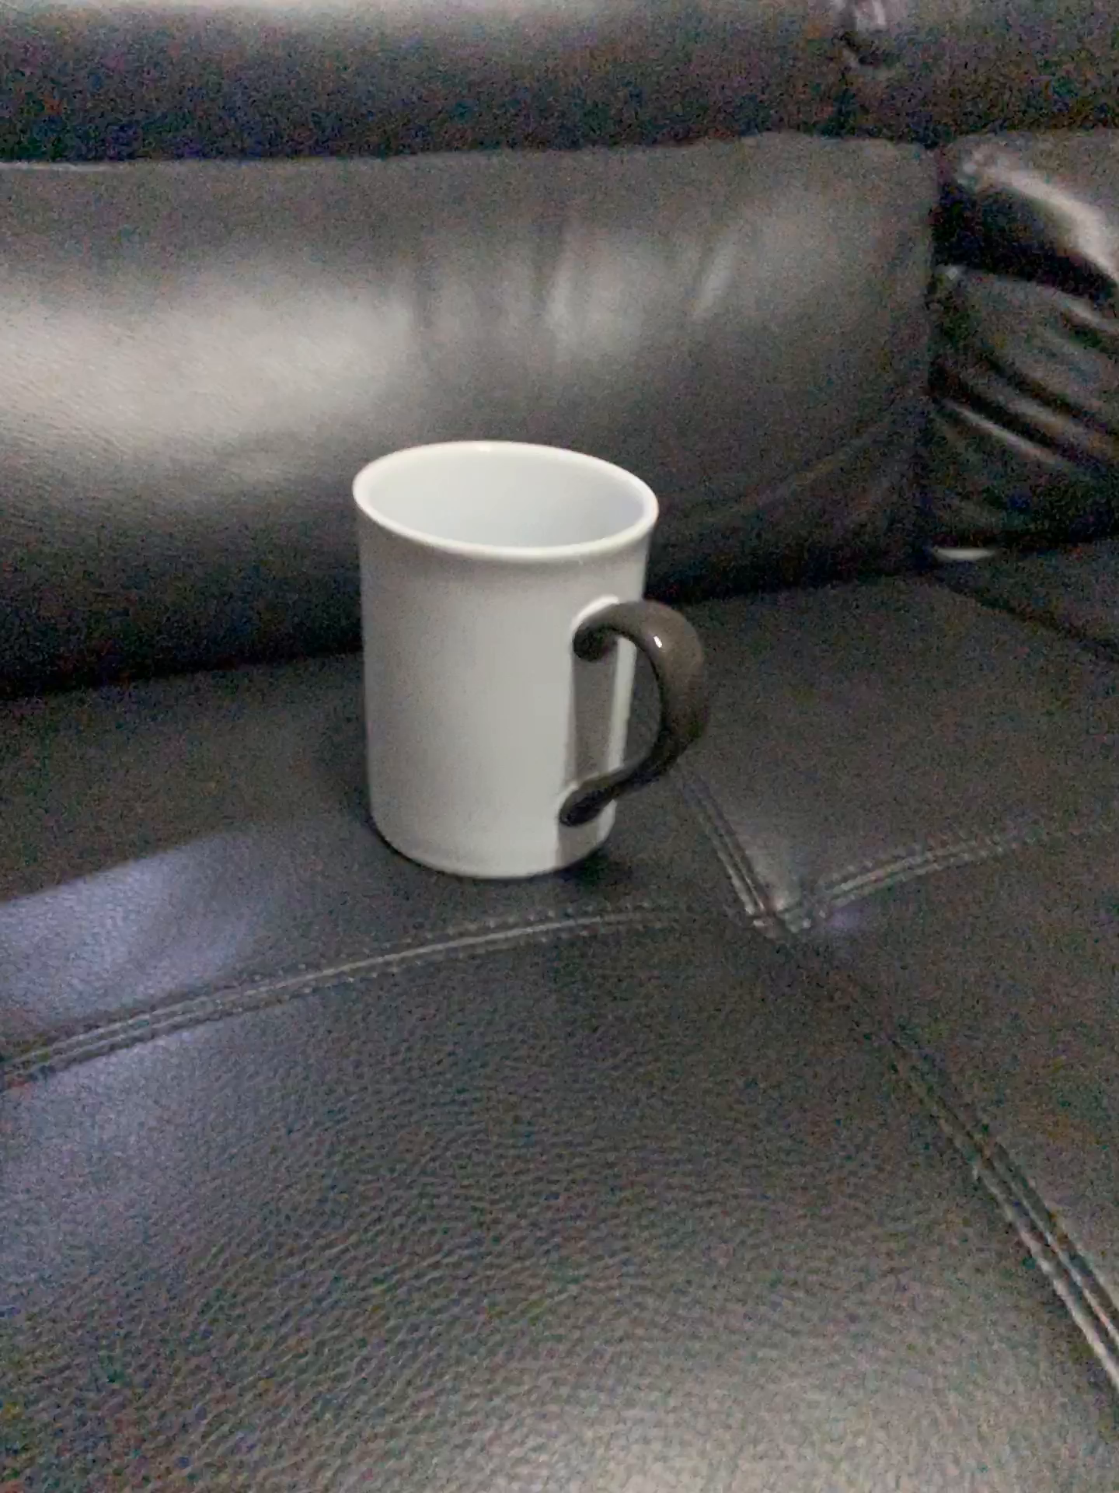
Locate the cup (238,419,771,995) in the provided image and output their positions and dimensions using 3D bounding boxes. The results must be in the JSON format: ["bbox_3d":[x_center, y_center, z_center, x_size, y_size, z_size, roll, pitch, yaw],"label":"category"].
[{"bbox_3d":[-0.021,-0.022,0.351,0.093,0.115,0.124,-20,36,-36],"label":"cup"}]
